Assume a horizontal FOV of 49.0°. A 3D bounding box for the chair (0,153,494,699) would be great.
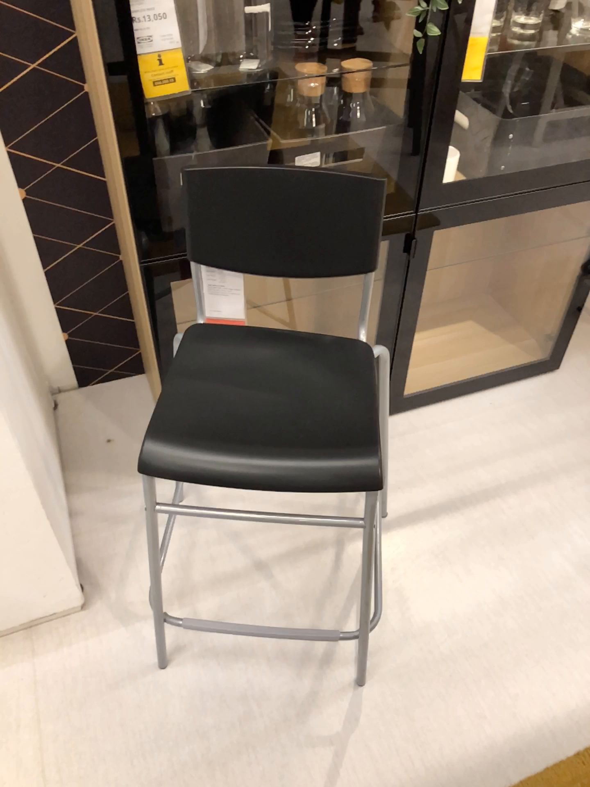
[{"bbox_3d":[-0.055,0.086,1.088,0.540,0.765,0.483,4,44,4],"label":"chair"}]
